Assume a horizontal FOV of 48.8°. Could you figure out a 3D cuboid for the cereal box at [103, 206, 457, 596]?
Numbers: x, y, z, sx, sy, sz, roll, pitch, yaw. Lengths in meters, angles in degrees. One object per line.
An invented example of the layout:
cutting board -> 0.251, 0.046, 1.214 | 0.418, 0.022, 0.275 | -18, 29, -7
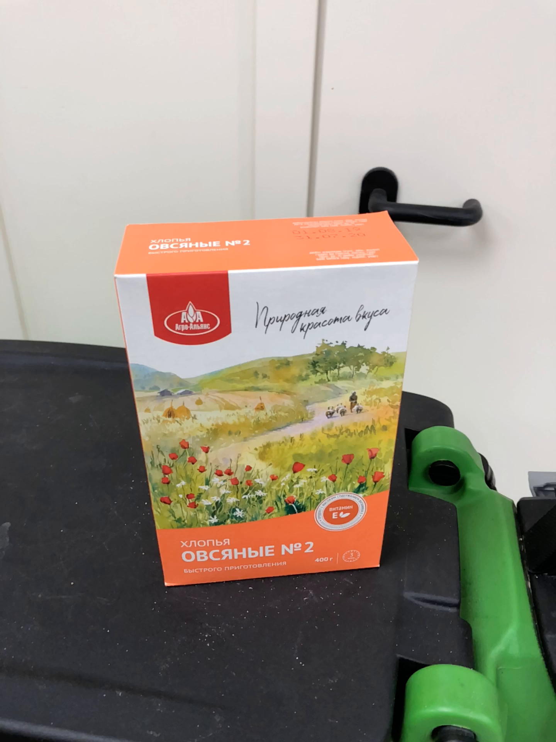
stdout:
cereal box -> -0.001, 0.024, 0.338 | 0.150, 0.209, 0.060 | -3, 33, -6
